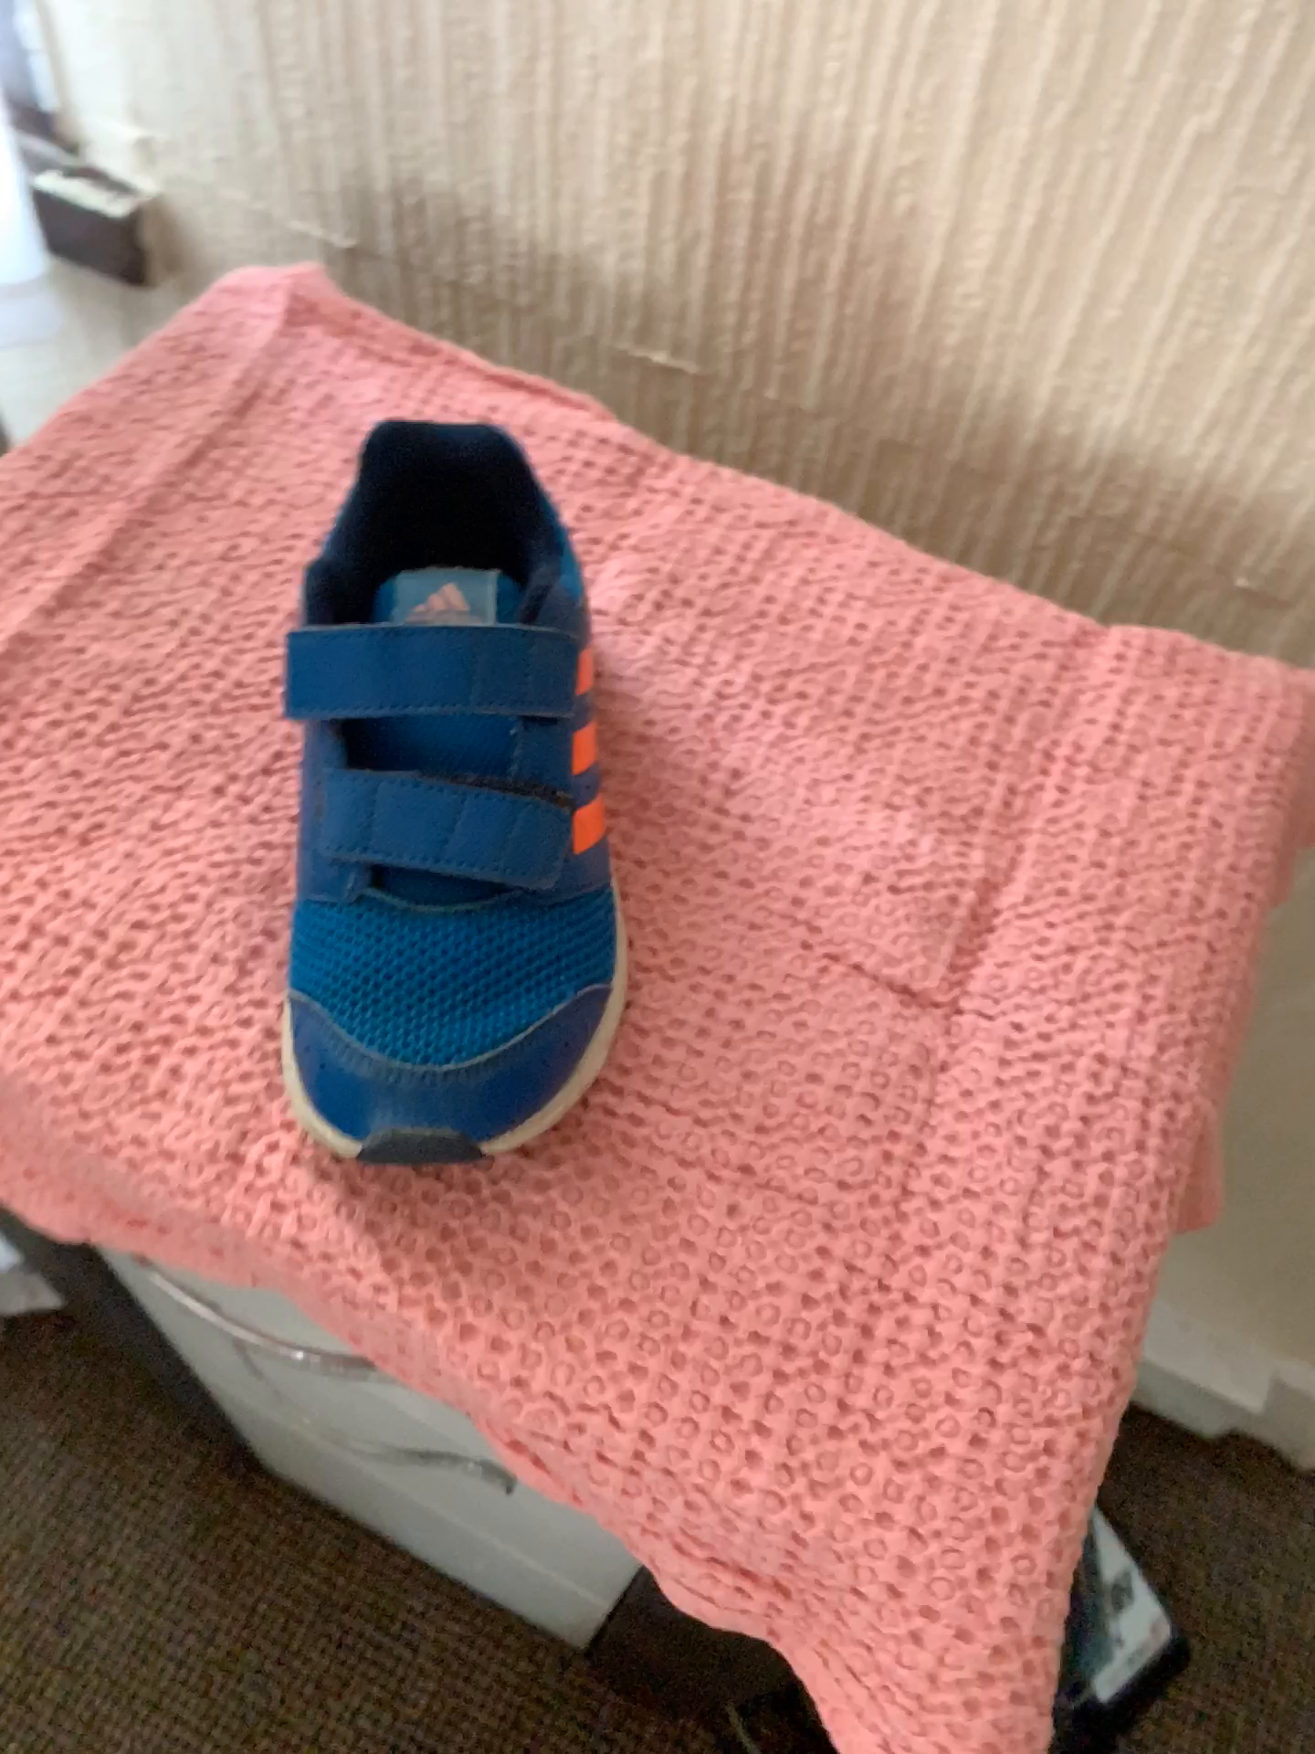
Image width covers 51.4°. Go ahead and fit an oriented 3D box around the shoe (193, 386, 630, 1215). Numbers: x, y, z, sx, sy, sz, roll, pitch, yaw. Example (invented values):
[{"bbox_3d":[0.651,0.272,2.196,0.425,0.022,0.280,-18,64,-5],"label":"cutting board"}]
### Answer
[{"bbox_3d":[-0.052,-0.027,0.355,0.084,0.075,0.209,2,56,-5],"label":"shoe"}]
